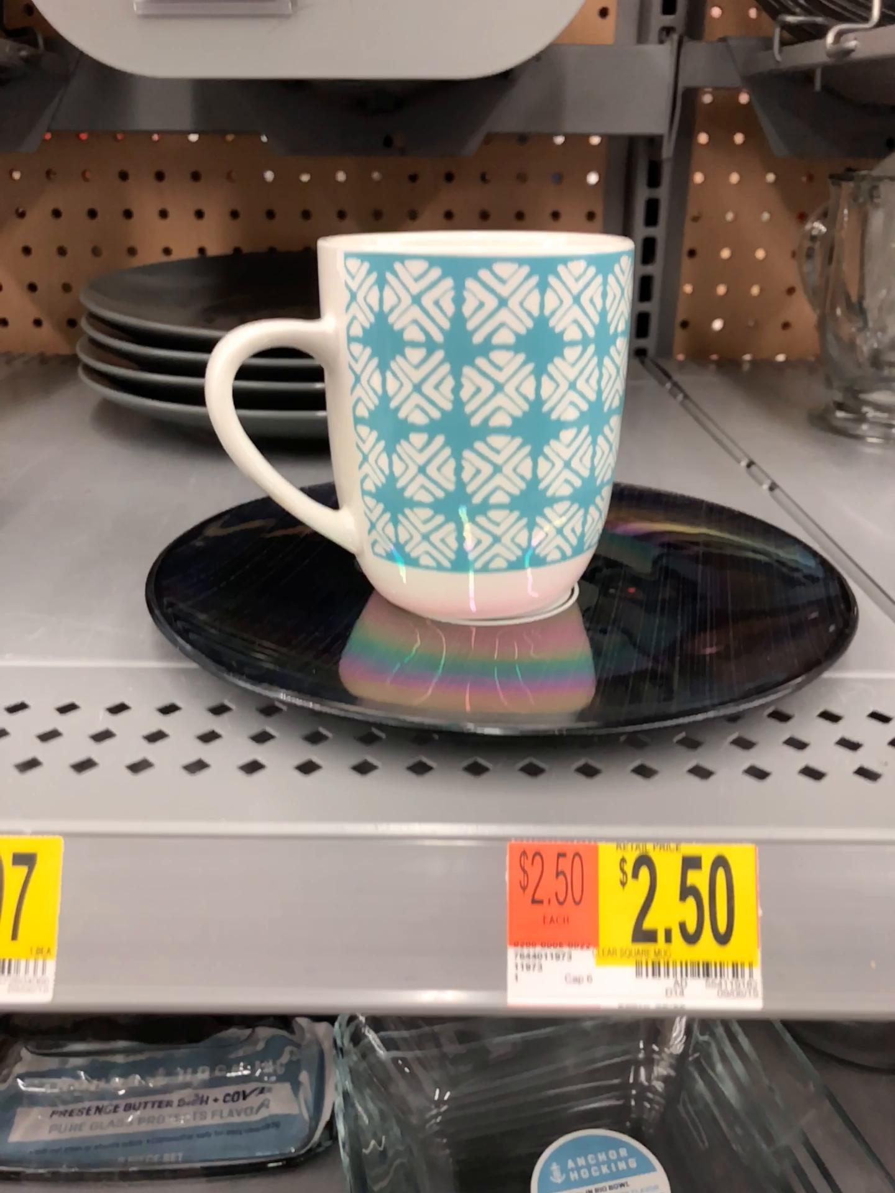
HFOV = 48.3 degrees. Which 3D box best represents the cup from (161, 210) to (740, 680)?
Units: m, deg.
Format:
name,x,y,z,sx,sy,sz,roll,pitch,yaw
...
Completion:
name,x,y,z,sx,sy,sz,roll,pitch,yaw
cup,-0.004,-0.051,0.273,0.122,0.098,0.090,-9,25,-21
